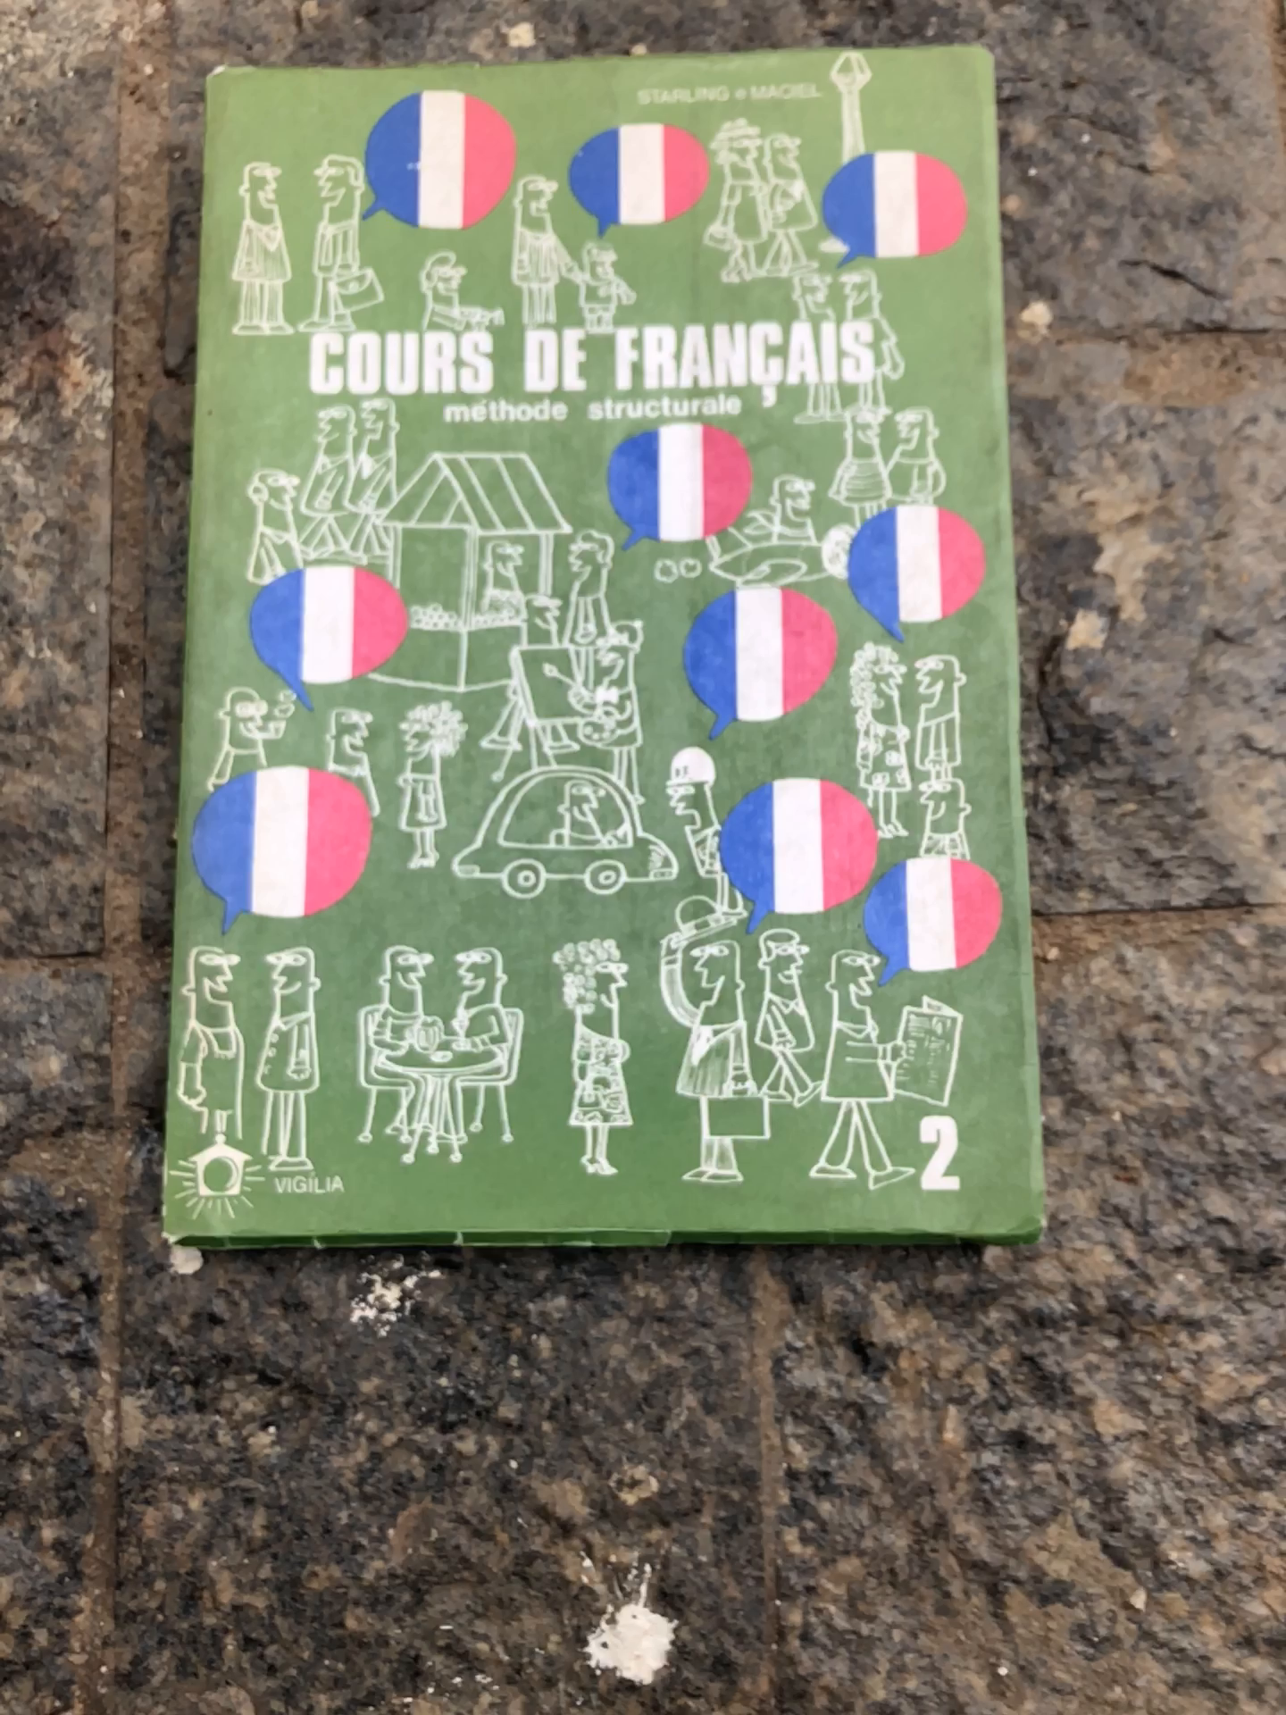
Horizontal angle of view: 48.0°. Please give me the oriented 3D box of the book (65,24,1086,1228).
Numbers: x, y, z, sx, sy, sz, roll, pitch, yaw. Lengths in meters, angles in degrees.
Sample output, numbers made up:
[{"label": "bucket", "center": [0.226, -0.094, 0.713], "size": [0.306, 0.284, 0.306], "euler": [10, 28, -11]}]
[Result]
[{"label": "book", "center": [-0.013, -0.044, 0.256], "size": [0.167, 0.013, 0.211], "euler": [-1, 82, 2]}]
